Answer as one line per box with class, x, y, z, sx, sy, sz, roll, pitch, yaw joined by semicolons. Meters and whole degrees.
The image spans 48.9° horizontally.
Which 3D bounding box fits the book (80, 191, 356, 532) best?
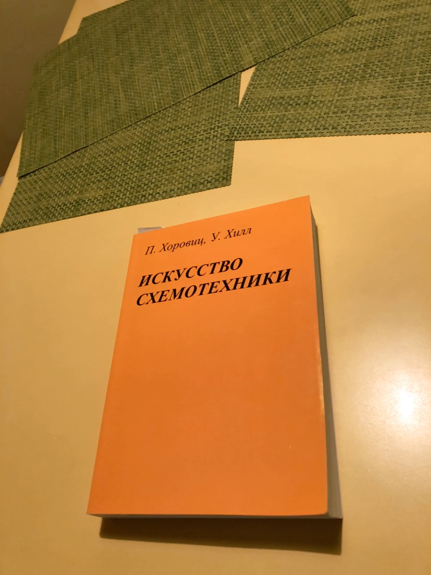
book;0.005;0.049;0.364;0.171;0.048;0.239;-9;56;20
